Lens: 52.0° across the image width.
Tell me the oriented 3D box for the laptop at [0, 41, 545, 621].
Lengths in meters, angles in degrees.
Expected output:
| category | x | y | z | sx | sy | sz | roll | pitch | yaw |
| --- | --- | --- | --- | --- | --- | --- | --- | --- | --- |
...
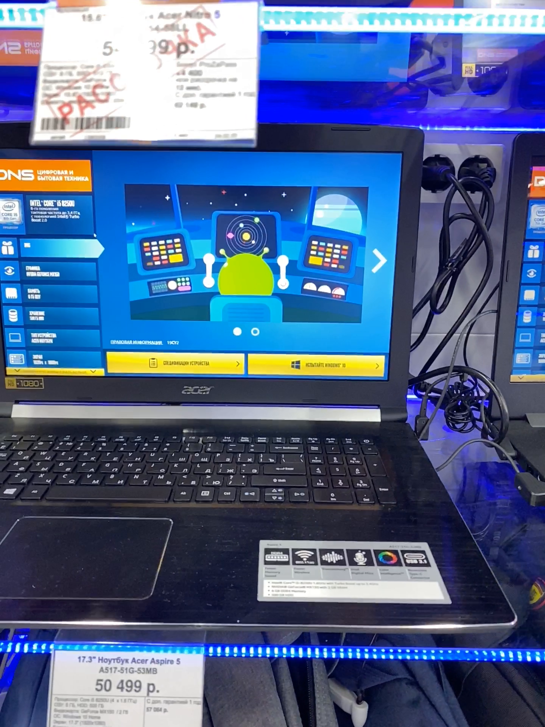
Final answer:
| category | x | y | z | sx | sy | sz | roll | pitch | yaw |
| --- | --- | --- | --- | --- | --- | --- | --- | --- | --- |
| laptop | -0.081 | -0.043 | 0.414 | 0.424 | 0.278 | 0.312 | 1 | 17 | 0 |
